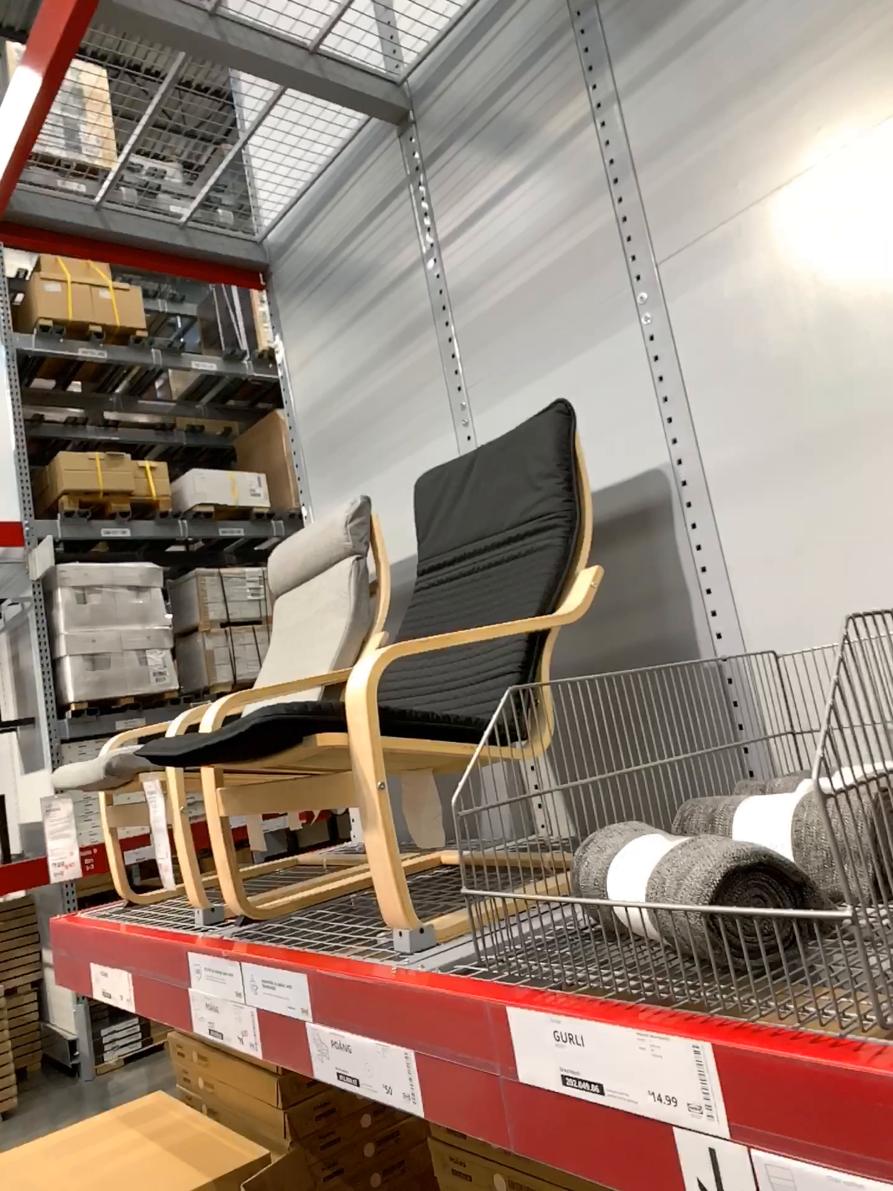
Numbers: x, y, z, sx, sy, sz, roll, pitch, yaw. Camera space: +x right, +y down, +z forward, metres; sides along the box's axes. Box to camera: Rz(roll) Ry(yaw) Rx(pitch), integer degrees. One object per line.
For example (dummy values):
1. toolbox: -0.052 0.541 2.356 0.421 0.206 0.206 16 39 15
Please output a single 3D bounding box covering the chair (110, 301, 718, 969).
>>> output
1. chair: -0.094 0.090 1.895 0.839 1.012 0.720 -3 -11 -40
